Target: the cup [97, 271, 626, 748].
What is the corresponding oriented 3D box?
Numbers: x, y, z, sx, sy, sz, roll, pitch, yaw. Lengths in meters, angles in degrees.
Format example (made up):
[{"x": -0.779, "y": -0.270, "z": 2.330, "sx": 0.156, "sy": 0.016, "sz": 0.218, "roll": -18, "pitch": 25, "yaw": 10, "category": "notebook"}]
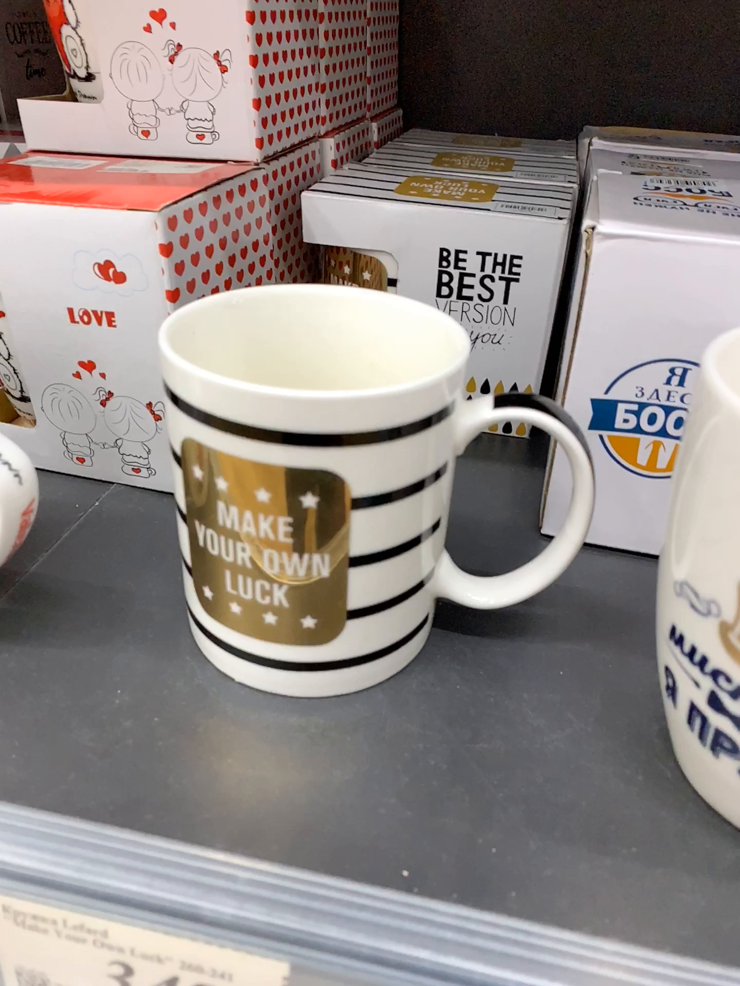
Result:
[{"x": 0.001, "y": 0.000, "z": 0.222, "sx": 0.114, "sy": 0.096, "sz": 0.082, "roll": 7, "pitch": 32, "yaw": 7, "category": "cup"}]
